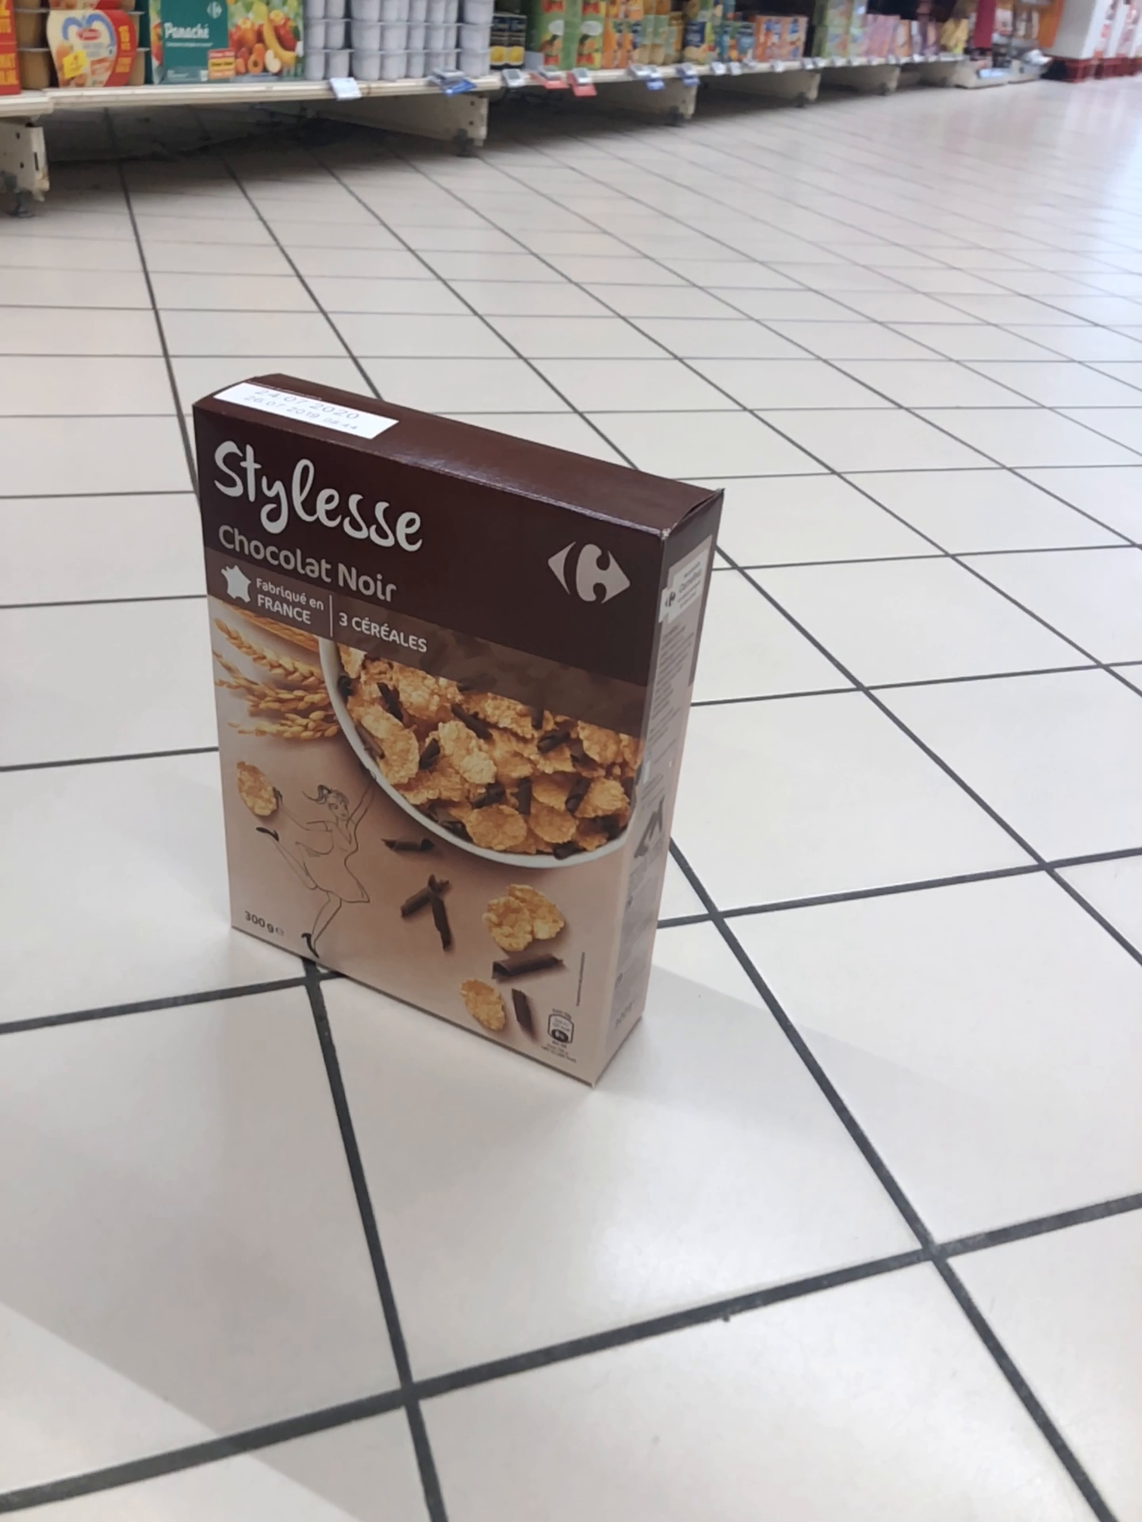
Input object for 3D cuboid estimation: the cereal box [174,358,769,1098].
[{"bbox_3d":[-0.047,-0.013,0.500,0.200,0.239,0.070,19,34,20],"label":"cereal box"}]
